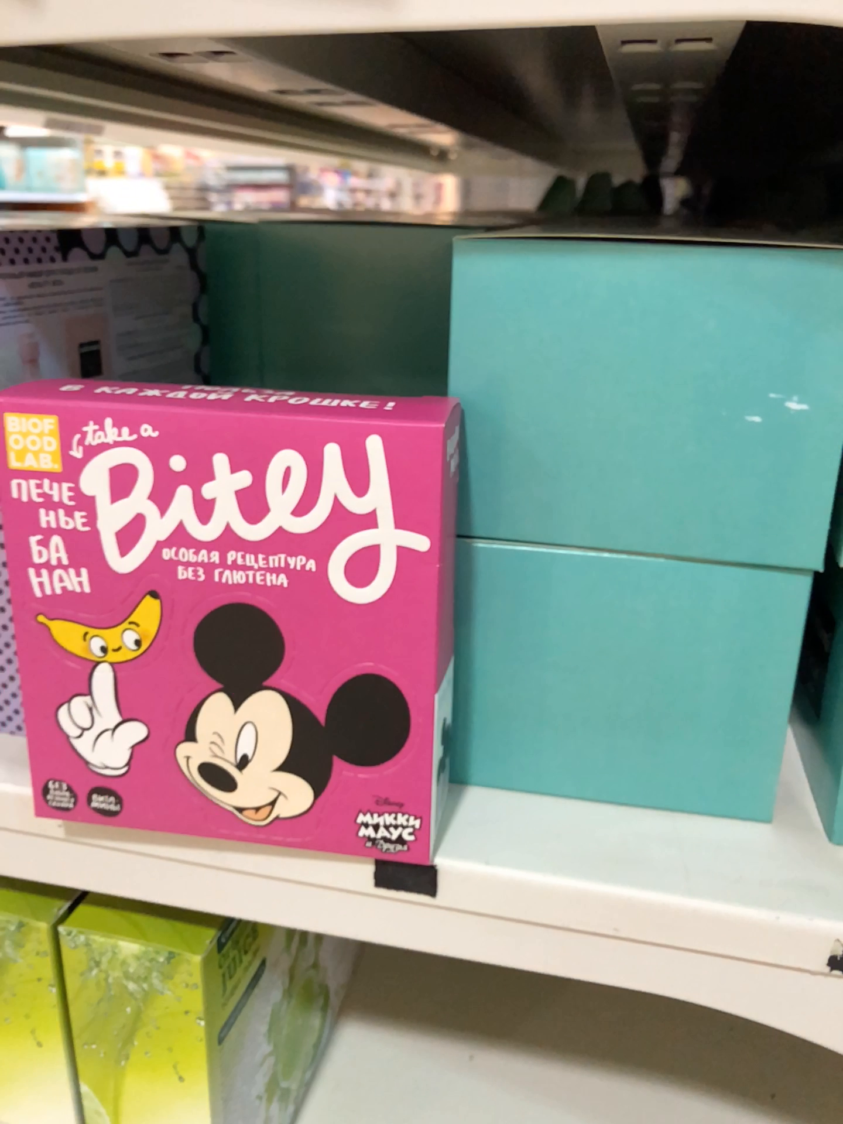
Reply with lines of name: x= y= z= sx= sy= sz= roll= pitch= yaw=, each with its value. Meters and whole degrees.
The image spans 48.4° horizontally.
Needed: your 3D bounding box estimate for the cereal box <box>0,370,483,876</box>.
cereal box: x=-0.055 y=0.019 z=0.307 sx=0.140 sy=0.149 sz=0.040 roll=4 pitch=19 yaw=6
